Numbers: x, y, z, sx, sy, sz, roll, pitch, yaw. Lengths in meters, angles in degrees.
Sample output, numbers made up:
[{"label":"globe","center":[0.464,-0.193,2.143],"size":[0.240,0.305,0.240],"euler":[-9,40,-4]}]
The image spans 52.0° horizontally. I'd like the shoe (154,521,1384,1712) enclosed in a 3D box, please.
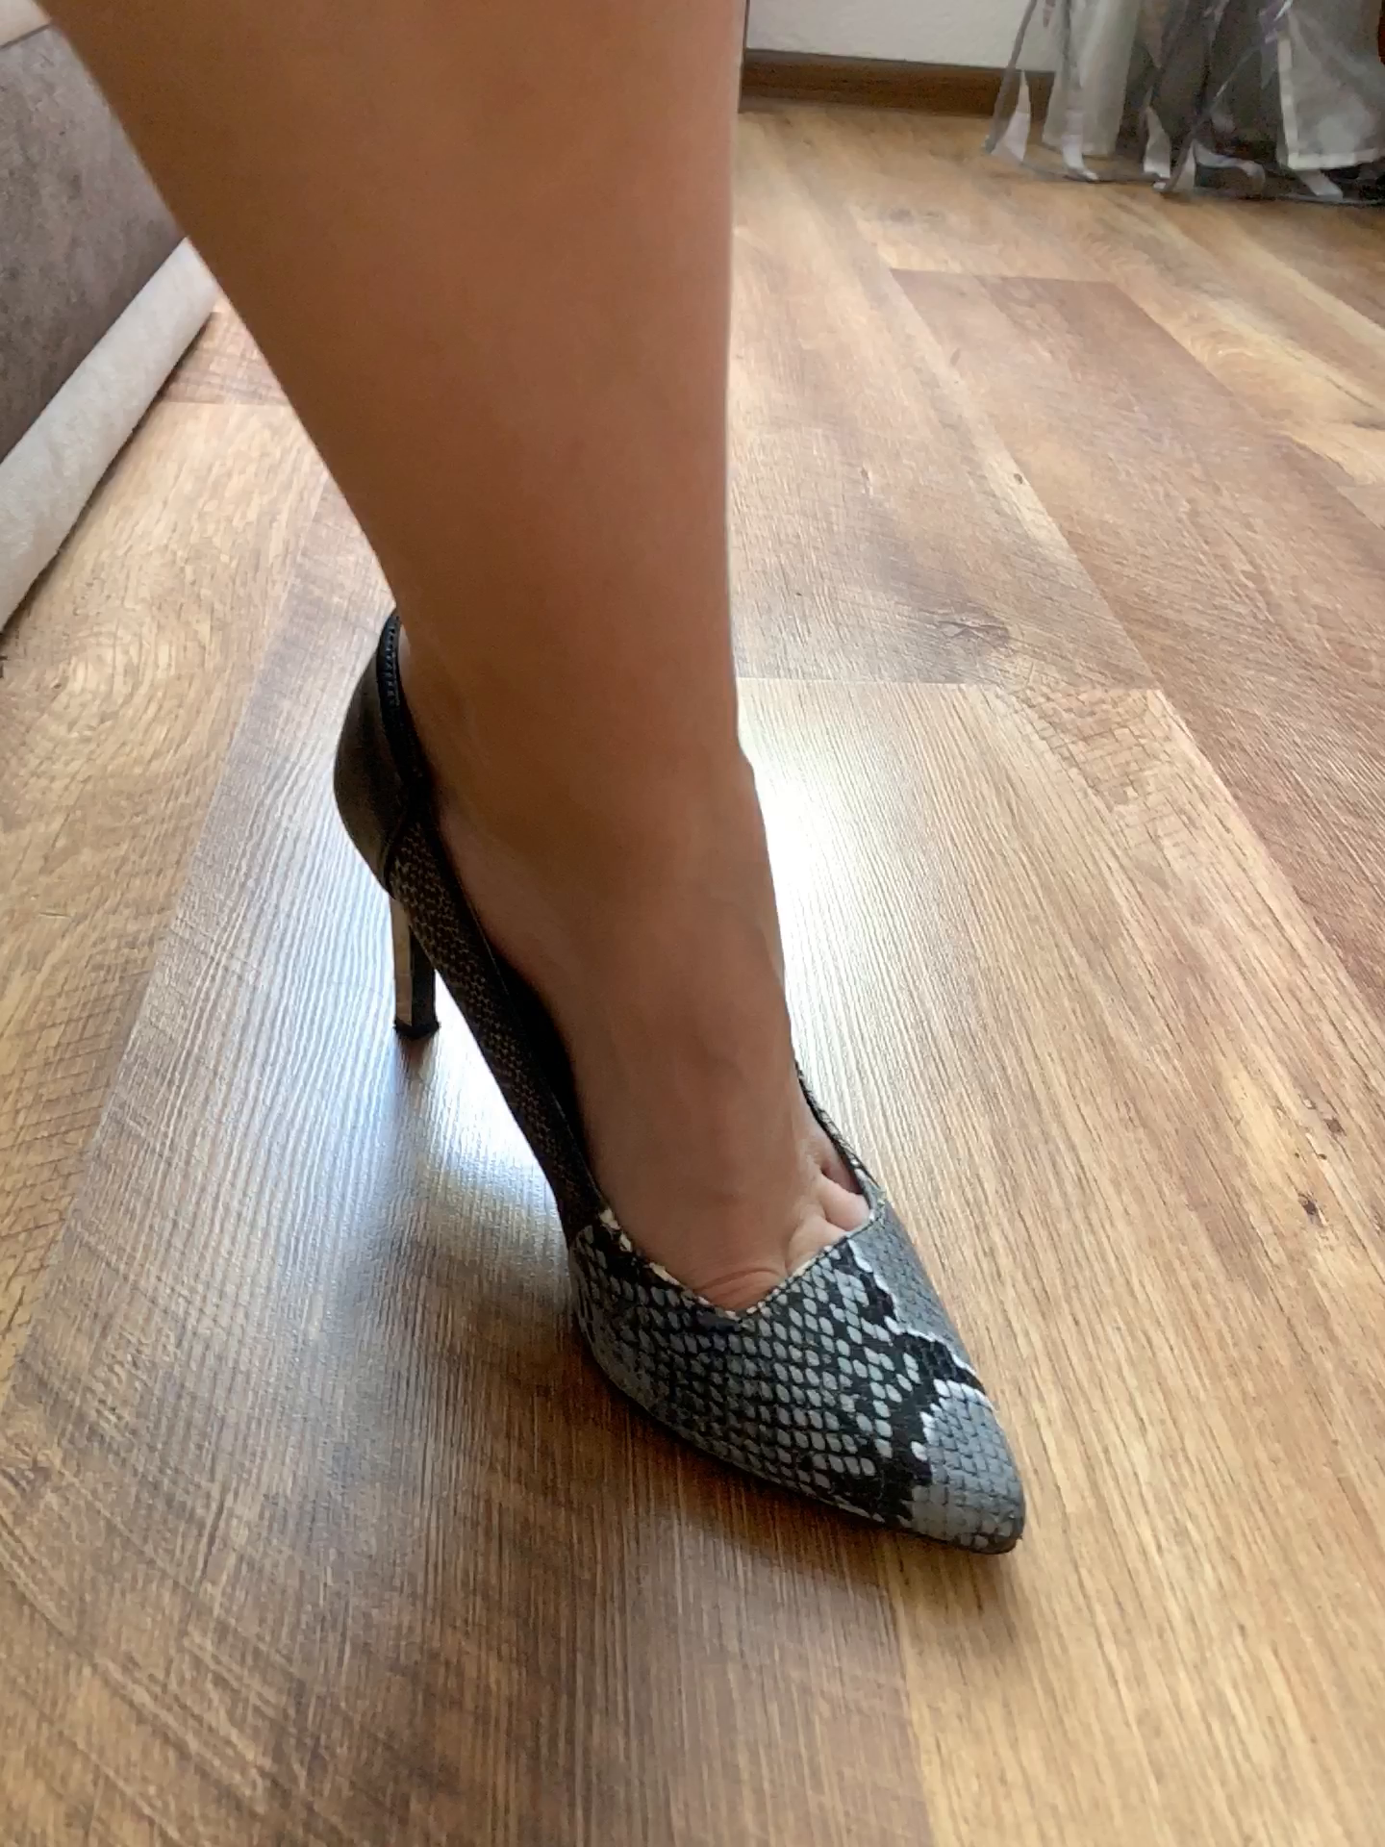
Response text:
[{"label":"shoe","center":[-0.004,0.017,0.309],"size":[0.090,0.109,0.251],"euler":[-29,49,-36]}]
